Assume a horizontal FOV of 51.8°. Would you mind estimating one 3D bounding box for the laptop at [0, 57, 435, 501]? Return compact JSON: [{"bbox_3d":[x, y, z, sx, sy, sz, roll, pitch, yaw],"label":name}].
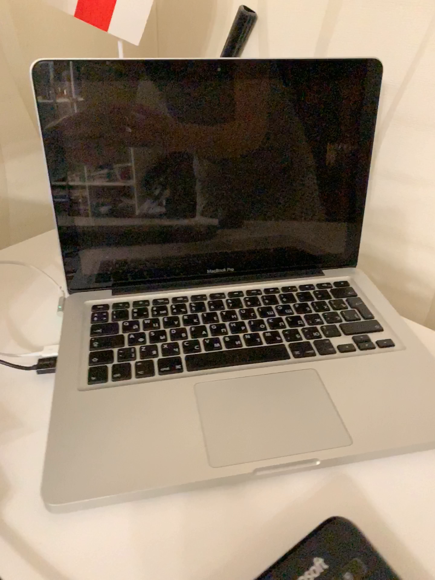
[{"bbox_3d":[0.022,-0.044,0.340,0.300,0.196,0.251,-6,36,-10],"label":"laptop"}]
